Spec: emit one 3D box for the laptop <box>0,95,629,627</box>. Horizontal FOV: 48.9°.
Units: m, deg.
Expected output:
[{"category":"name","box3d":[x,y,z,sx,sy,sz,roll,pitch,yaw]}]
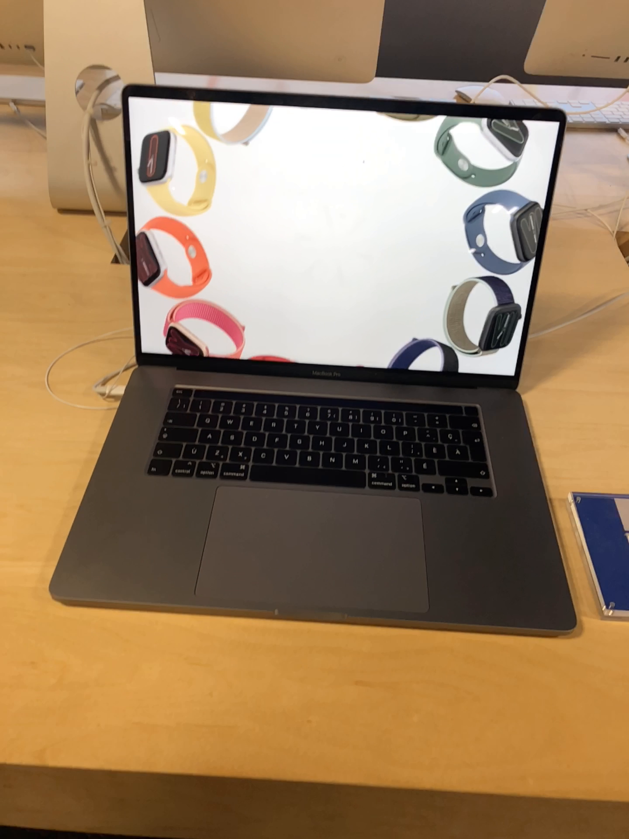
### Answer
[{"category":"laptop","box3d":[0.010,-0.059,0.516,0.352,0.230,0.316,4,43,1]}]
